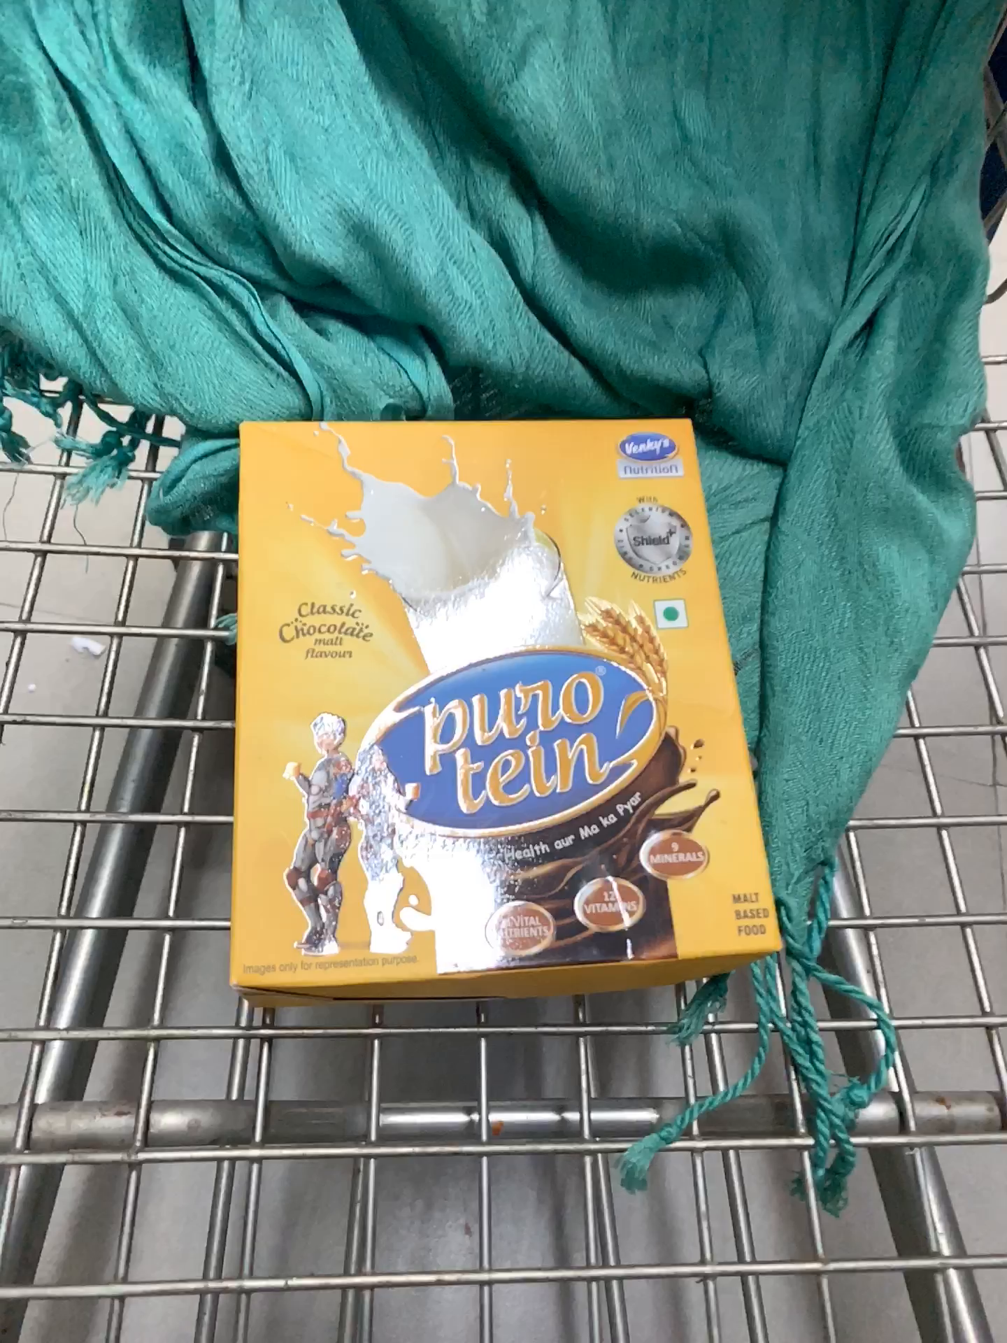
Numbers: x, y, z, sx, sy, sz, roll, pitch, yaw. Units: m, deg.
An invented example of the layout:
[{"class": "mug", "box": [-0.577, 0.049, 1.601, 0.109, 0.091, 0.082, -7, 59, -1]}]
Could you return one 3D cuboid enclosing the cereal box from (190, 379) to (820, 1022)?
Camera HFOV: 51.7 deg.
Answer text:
[{"class": "cereal box", "box": [-0.004, 0.006, 0.280, 0.140, 0.050, 0.160, 0, 70, -7]}]
